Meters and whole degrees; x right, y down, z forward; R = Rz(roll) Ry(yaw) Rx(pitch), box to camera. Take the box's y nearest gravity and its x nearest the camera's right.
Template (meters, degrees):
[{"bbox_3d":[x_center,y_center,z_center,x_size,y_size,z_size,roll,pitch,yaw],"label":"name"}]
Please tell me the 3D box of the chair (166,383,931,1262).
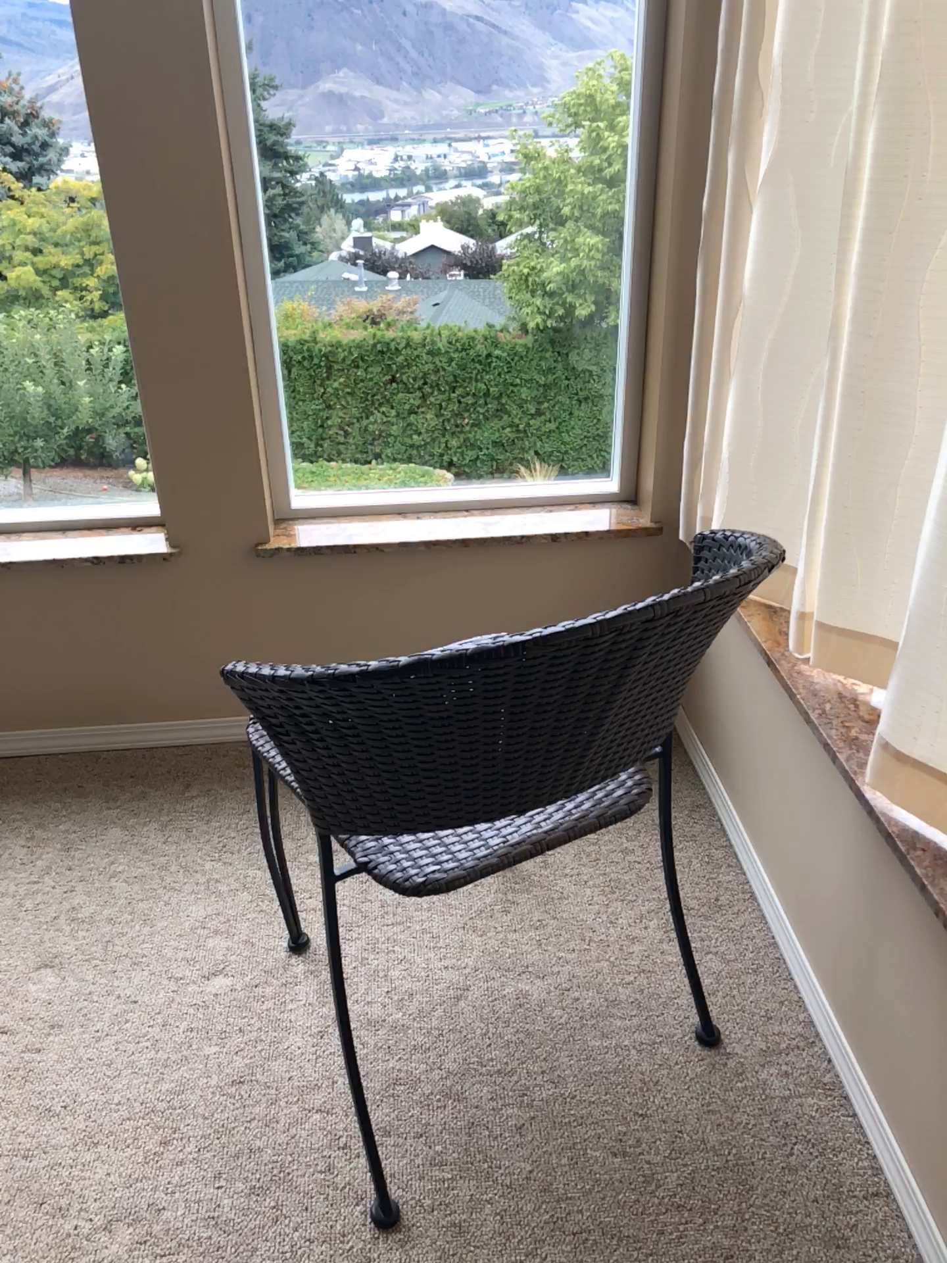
[{"bbox_3d":[0.037,0.198,1.266,0.560,0.787,0.612,-15,31,-23],"label":"chair"}]
